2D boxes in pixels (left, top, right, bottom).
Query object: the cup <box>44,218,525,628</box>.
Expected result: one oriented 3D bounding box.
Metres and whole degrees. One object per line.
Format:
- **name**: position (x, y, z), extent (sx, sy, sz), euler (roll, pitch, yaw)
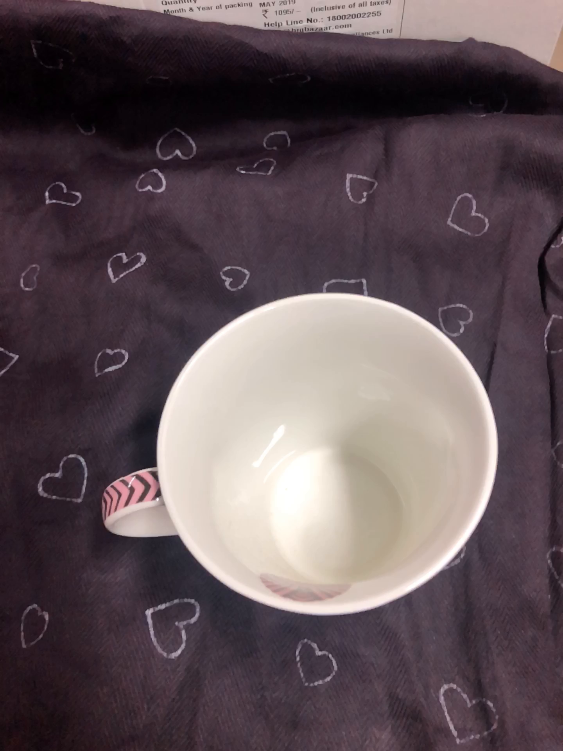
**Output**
- **cup**: position (-0.001, 0.025, 0.220), extent (0.120, 0.100, 0.090), euler (-13, 64, 2)
